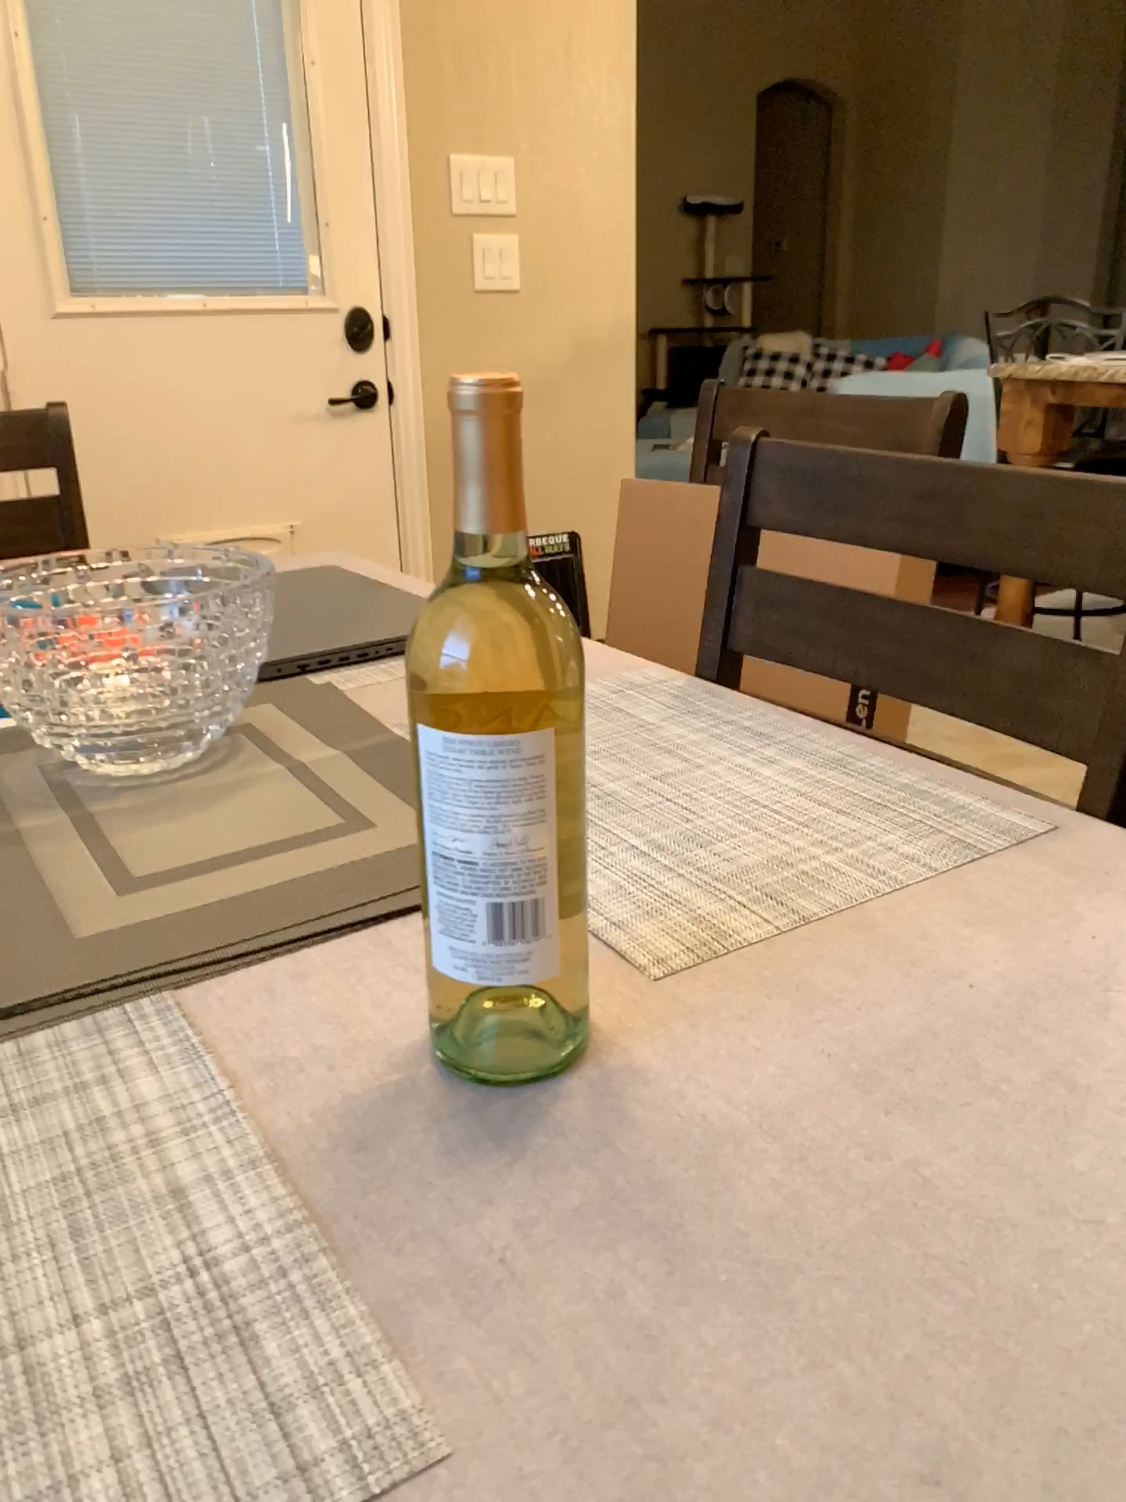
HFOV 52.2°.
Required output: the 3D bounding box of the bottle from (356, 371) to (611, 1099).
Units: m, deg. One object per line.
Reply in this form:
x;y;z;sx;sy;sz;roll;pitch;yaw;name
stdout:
-0.025;-0.004;0.493;0.083;0.299;0.080;-1;20;0;bottle
